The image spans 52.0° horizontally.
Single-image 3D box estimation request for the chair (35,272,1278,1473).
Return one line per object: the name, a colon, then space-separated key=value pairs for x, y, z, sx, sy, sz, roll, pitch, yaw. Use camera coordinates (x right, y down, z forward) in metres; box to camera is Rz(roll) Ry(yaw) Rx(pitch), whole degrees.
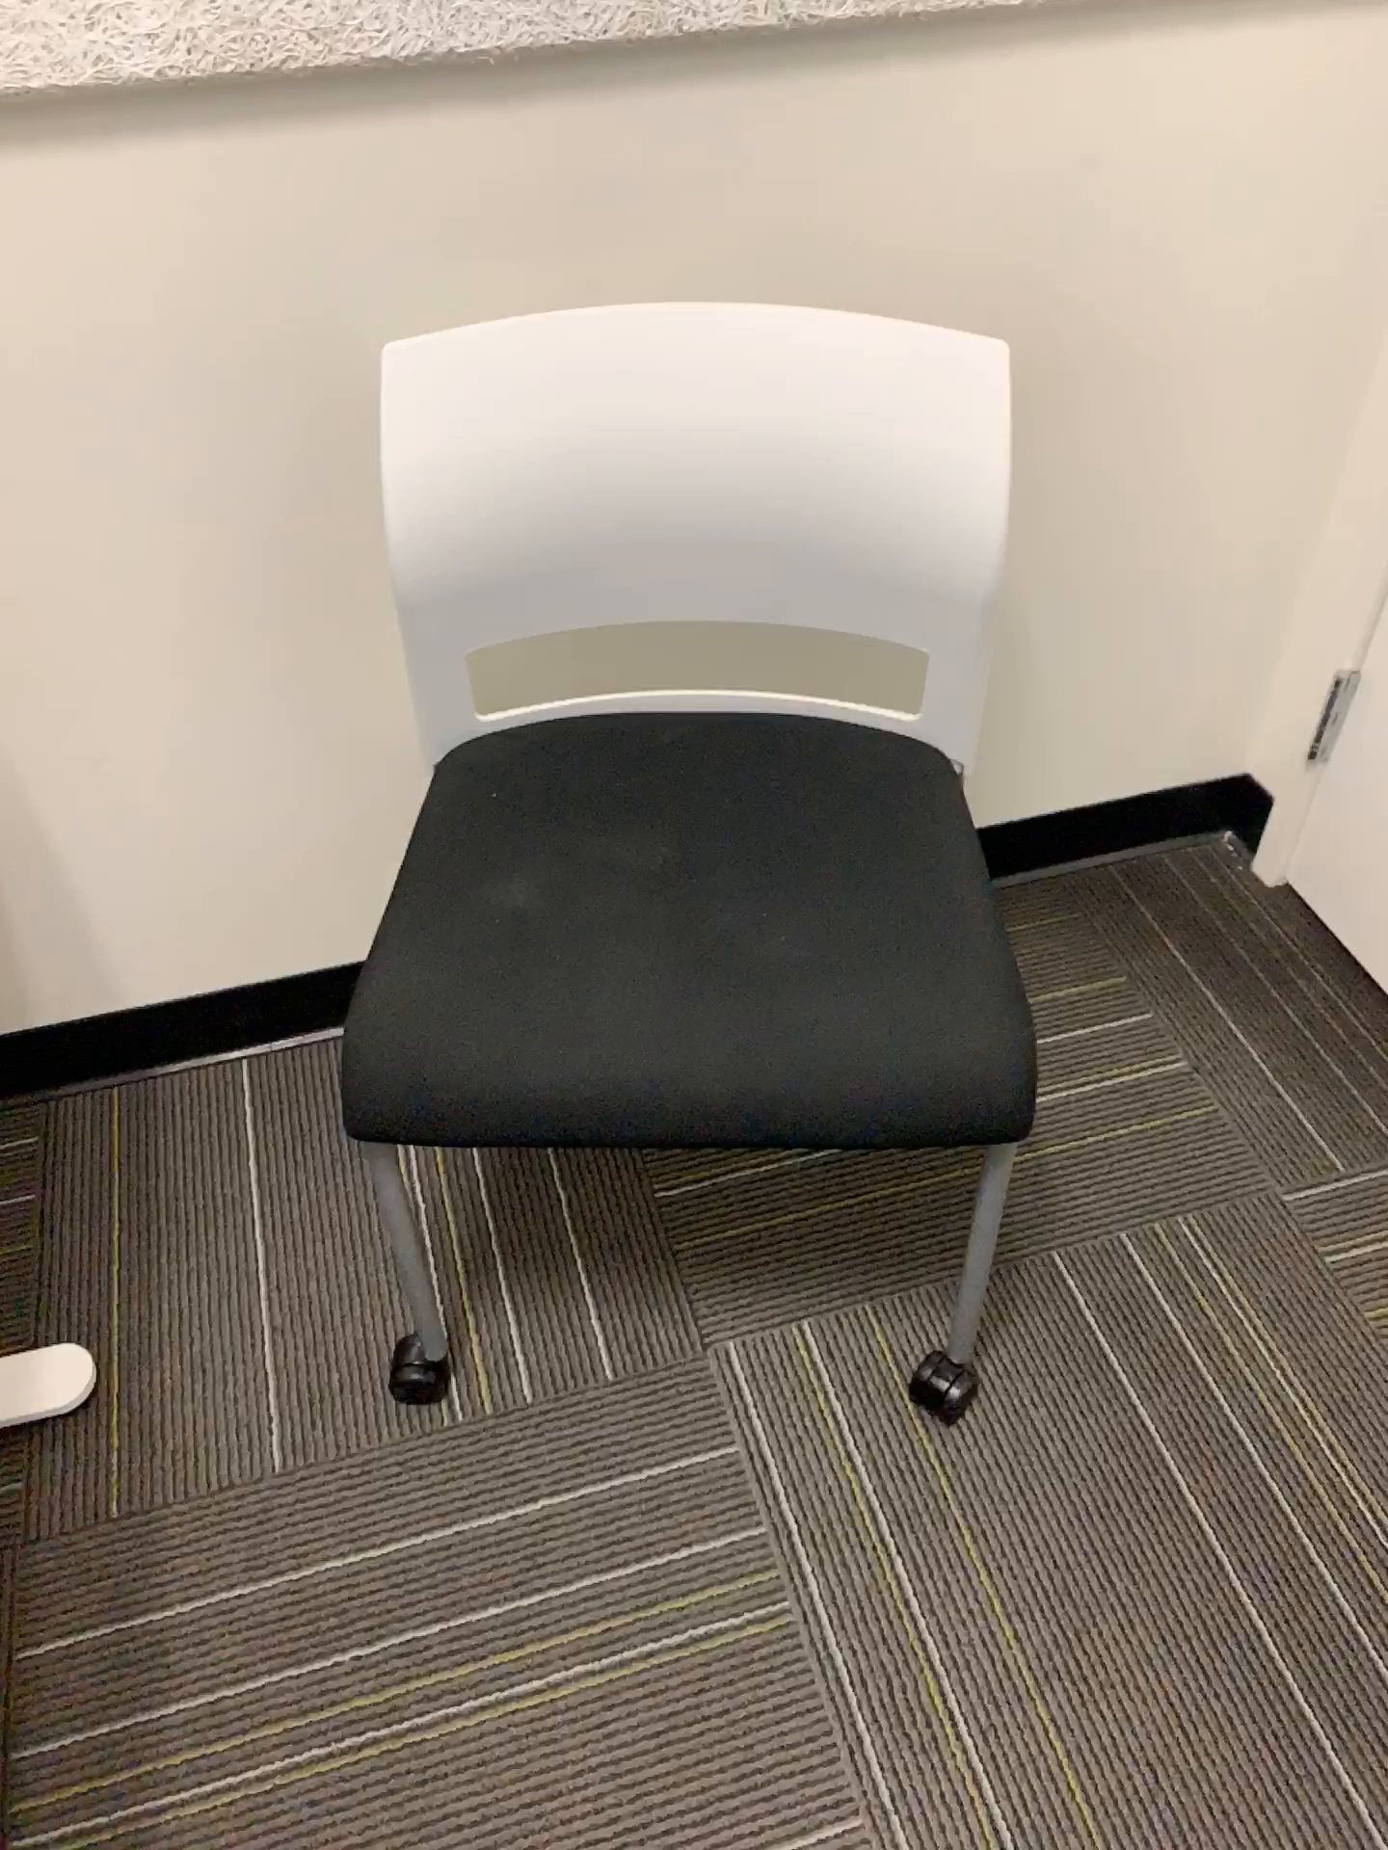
chair: x=-0.024 y=-0.028 z=1.203 sx=0.620 sy=0.776 sz=0.624 roll=-2 pitch=44 yaw=-1
